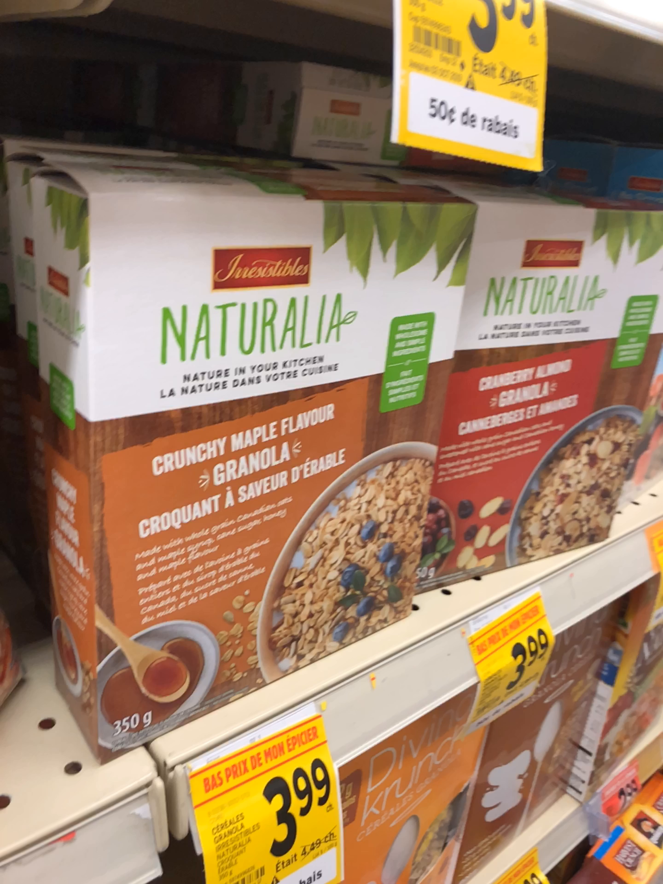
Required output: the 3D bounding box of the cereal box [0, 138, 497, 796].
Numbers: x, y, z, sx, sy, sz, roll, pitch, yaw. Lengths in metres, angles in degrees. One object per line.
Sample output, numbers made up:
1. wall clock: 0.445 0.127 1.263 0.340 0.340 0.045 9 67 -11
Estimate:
1. cereal box: -0.029 0.003 0.286 0.171 0.209 0.050 -13 31 -39
